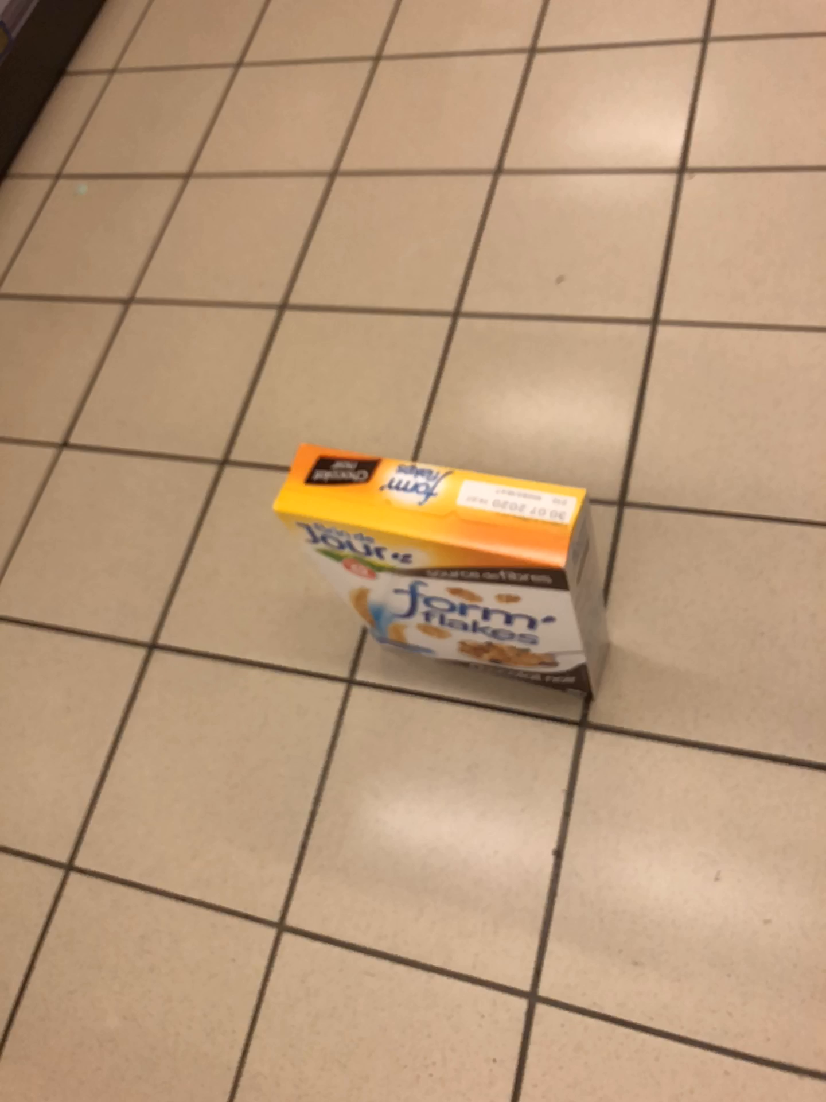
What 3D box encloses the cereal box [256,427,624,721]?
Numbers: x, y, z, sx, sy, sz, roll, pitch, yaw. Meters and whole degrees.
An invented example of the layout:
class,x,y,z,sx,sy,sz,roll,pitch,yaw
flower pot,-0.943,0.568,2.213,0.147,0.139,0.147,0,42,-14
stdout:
class,x,y,z,sx,sy,sz,roll,pitch,yaw
cereal box,0.036,0.026,0.651,0.200,0.249,0.070,11,67,20
